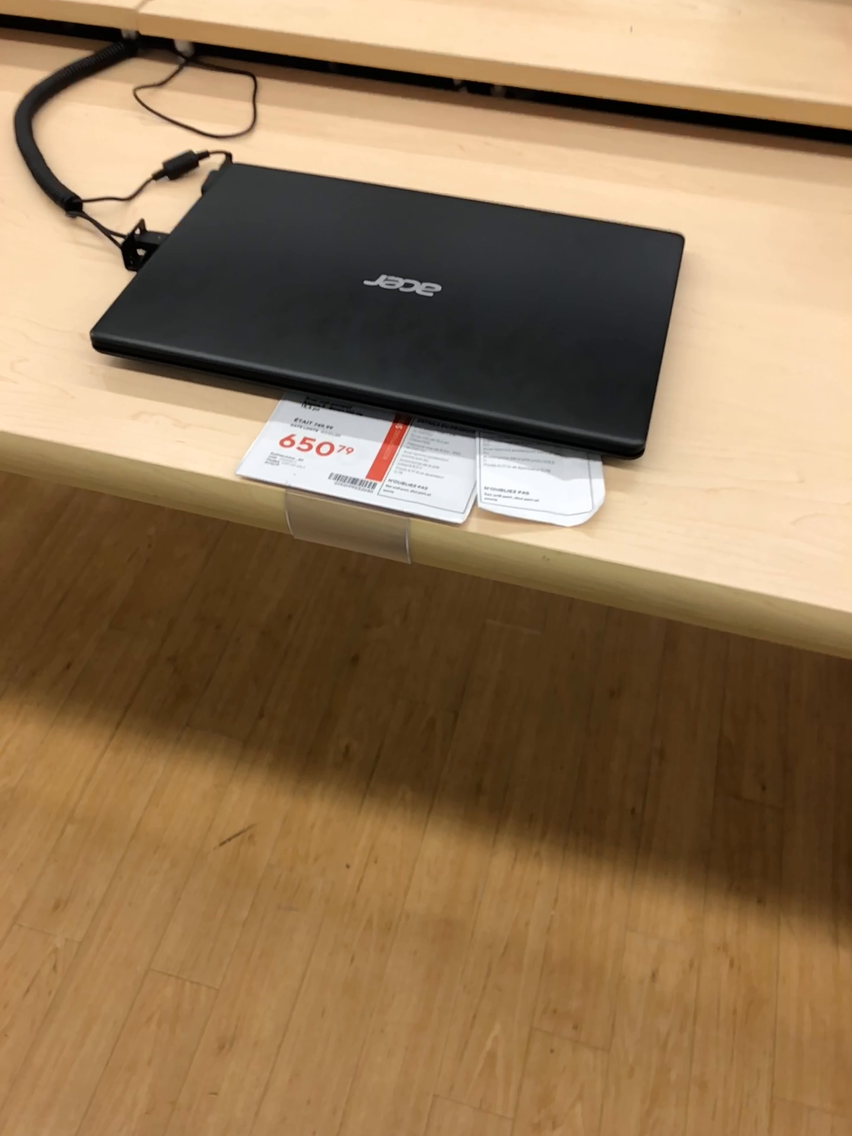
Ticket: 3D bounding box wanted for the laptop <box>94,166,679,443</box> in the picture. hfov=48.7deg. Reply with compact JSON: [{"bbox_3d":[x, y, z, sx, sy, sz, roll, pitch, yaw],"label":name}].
[{"bbox_3d":[-0.014,-0.192,0.640,0.346,0.003,0.213,13,53,8],"label":"laptop"}]
